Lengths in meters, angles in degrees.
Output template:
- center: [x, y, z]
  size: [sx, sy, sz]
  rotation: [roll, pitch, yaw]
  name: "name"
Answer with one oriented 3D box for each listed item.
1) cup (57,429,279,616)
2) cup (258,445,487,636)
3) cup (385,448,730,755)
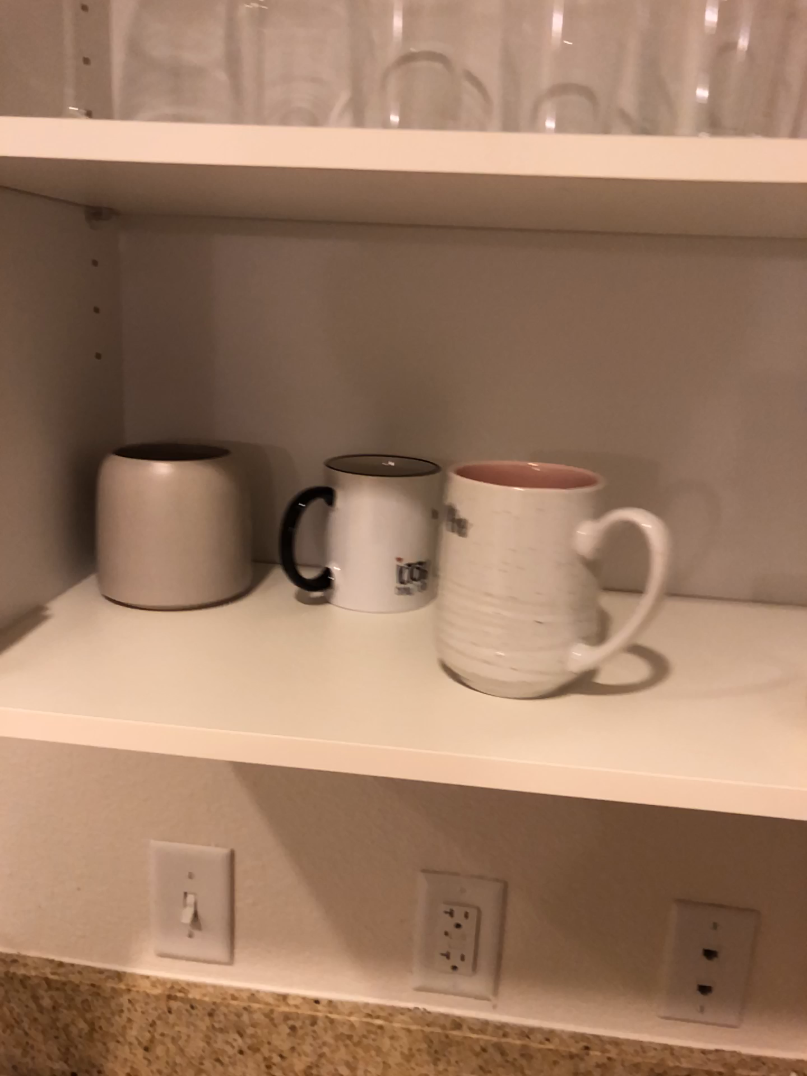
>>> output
- center: [-0.151, -0.017, 0.609]
  size: [0.110, 0.090, 0.151]
  rotation: [3, 14, 0]
  name: "cup"
- center: [-0.022, -0.005, 0.562]
  size: [0.110, 0.090, 0.090]
  rotation: [-7, 17, -34]
  name: "cup"
- center: [0.075, 0.021, 0.459]
  size: [0.140, 0.110, 0.090]
  rotation: [15, 19, 40]
  name: "cup"
